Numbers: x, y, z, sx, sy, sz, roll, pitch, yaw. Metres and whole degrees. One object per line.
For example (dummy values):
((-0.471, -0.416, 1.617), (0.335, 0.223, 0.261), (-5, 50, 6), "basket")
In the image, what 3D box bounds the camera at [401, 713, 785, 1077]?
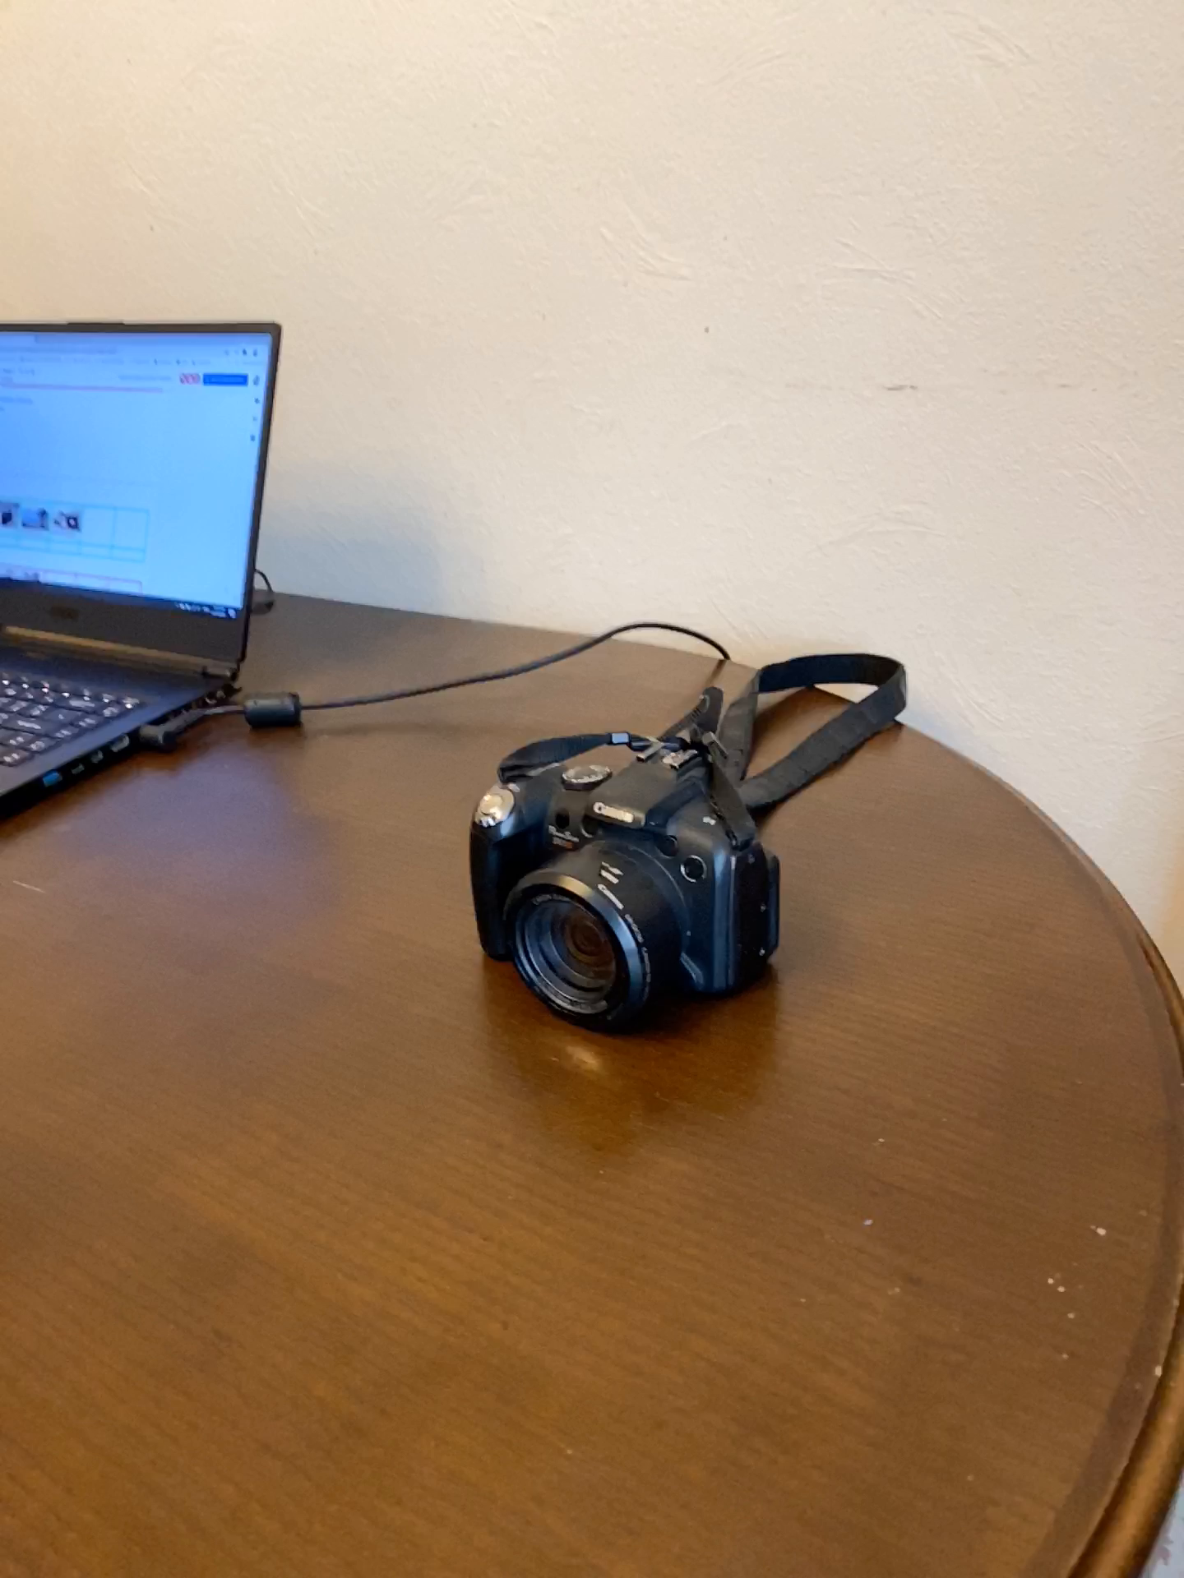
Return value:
((0.001, 0.035, 0.483), (0.123, 0.088, 0.082), (16, 30, 33), "camera")
